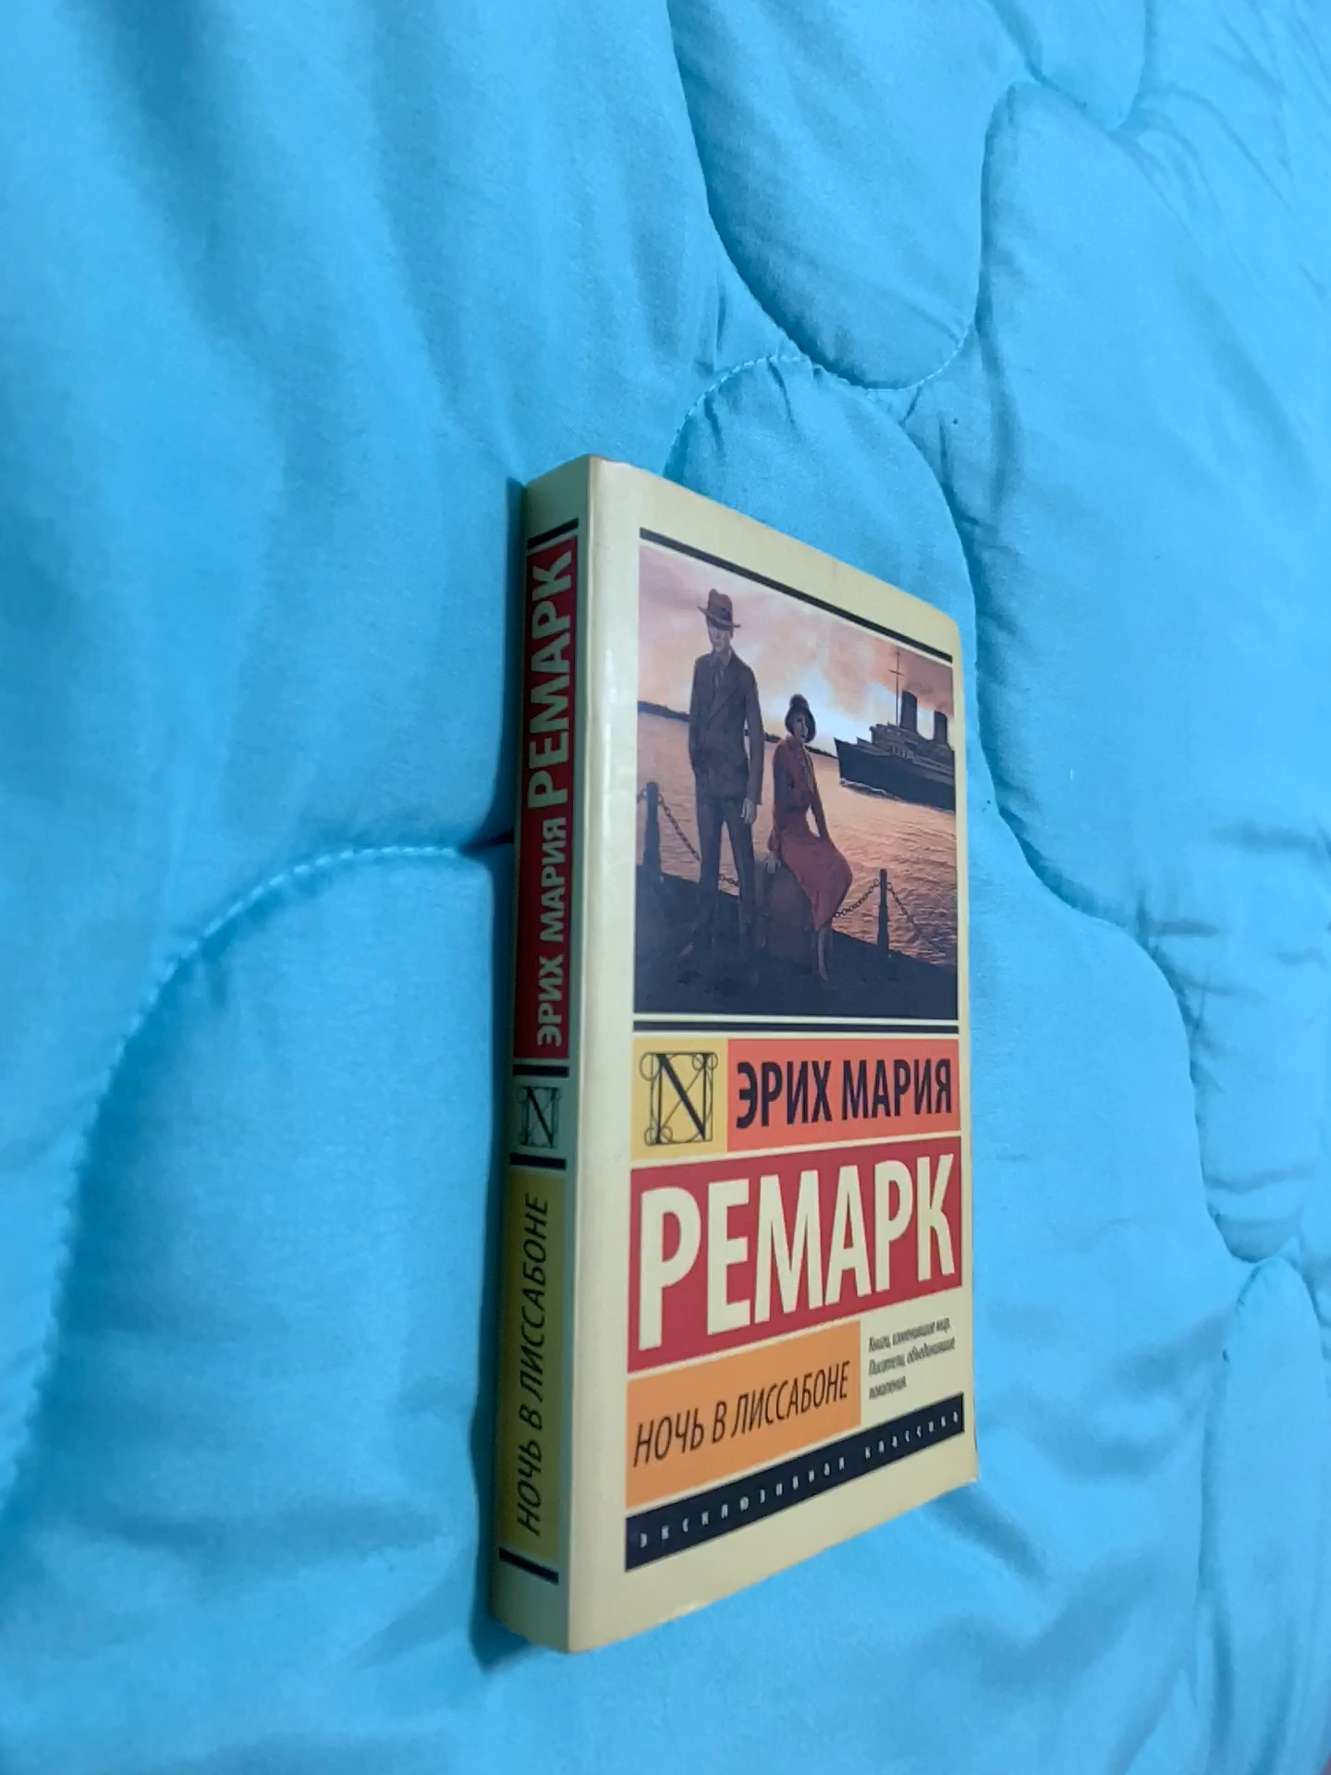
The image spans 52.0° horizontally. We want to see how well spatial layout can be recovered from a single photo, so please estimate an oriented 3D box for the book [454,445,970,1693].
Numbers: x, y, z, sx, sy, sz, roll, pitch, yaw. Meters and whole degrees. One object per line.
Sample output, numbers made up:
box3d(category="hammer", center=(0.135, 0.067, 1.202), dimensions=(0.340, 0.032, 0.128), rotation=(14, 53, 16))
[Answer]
box3d(category="book", center=(0.016, 0.027, 0.239), dimensions=(0.113, 0.020, 0.172), rotation=(7, 83, -49))
